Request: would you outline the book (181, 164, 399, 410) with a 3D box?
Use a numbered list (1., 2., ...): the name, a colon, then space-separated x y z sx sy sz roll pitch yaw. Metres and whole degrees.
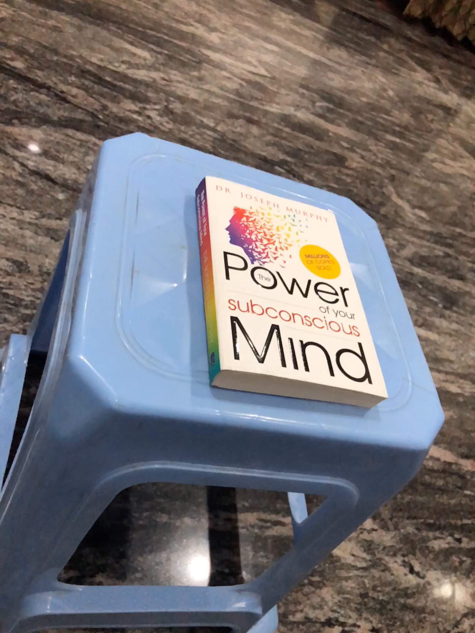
1. book: 0.032 -0.029 0.414 0.140 0.030 0.201 10 48 -22
